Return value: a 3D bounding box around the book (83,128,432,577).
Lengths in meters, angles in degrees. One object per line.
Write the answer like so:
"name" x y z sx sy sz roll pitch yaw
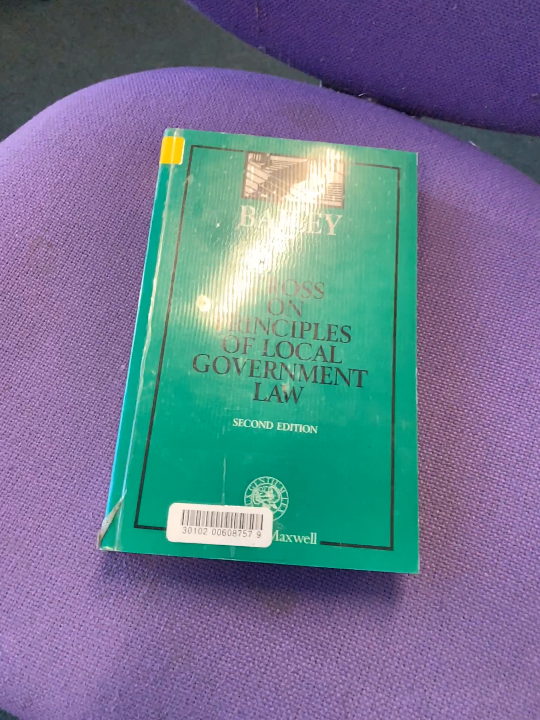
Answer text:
"book" 0.001 -0.011 0.312 0.160 0.040 0.236 5 71 -3
